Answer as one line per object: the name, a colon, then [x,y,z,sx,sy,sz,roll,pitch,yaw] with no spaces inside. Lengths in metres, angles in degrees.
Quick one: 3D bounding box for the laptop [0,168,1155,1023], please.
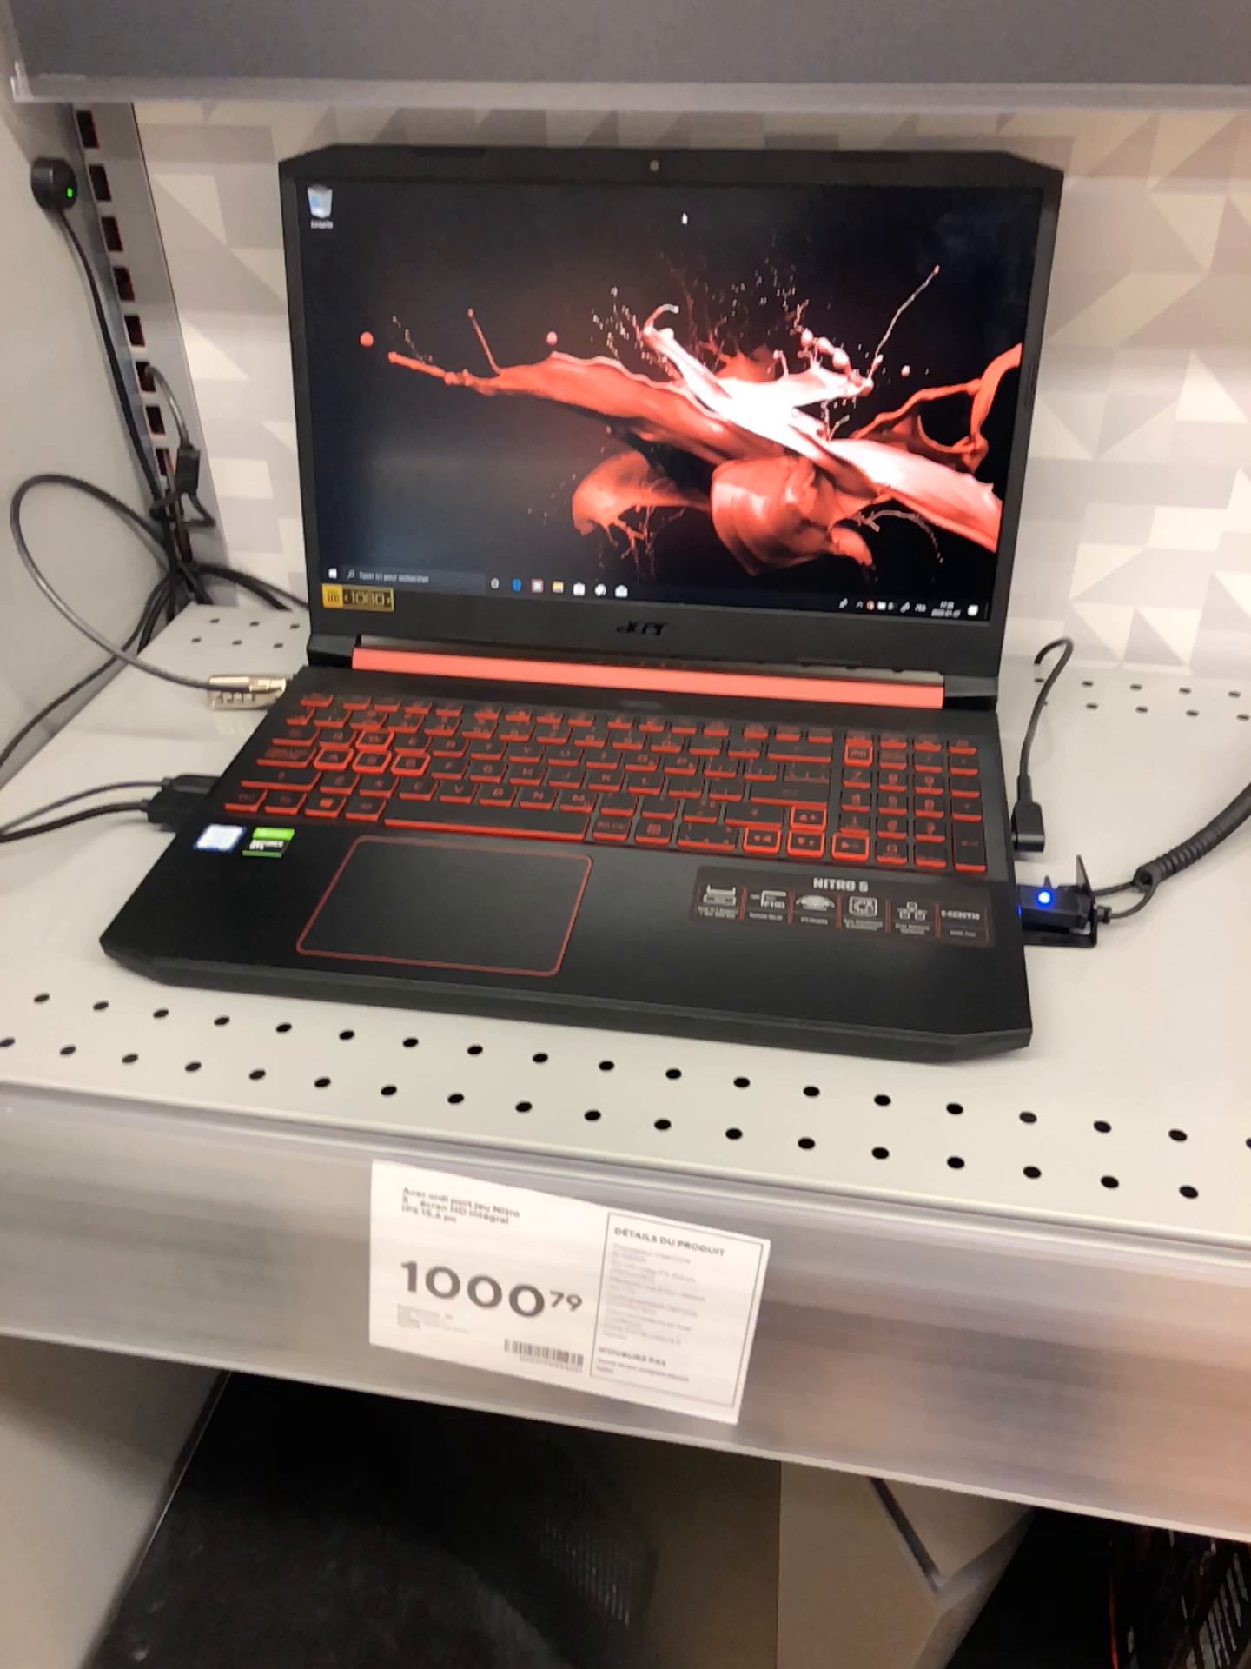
laptop: [-0.008,-0.121,0.584,0.361,0.241,0.282,5,36,7]
